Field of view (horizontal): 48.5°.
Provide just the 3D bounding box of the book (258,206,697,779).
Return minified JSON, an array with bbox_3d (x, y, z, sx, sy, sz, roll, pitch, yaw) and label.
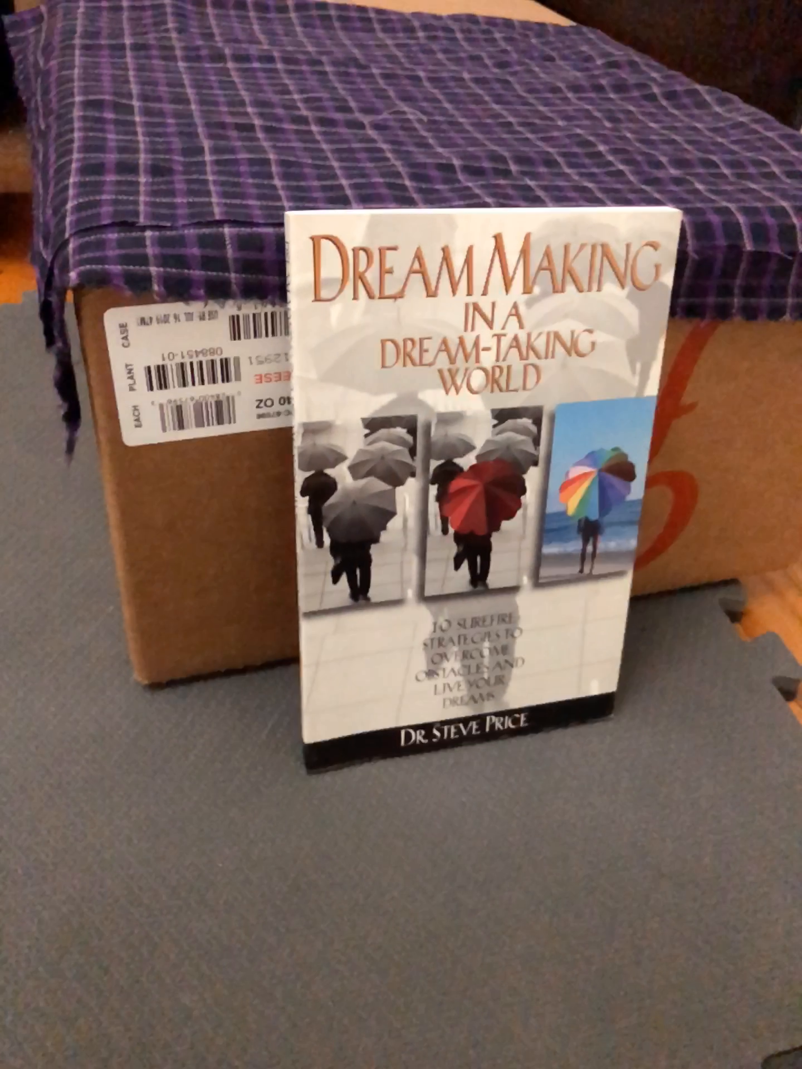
[{"bbox_3d":[0.028,-0.010,0.349,0.150,0.219,0.020,-6,26,-13],"label":"book"}]
